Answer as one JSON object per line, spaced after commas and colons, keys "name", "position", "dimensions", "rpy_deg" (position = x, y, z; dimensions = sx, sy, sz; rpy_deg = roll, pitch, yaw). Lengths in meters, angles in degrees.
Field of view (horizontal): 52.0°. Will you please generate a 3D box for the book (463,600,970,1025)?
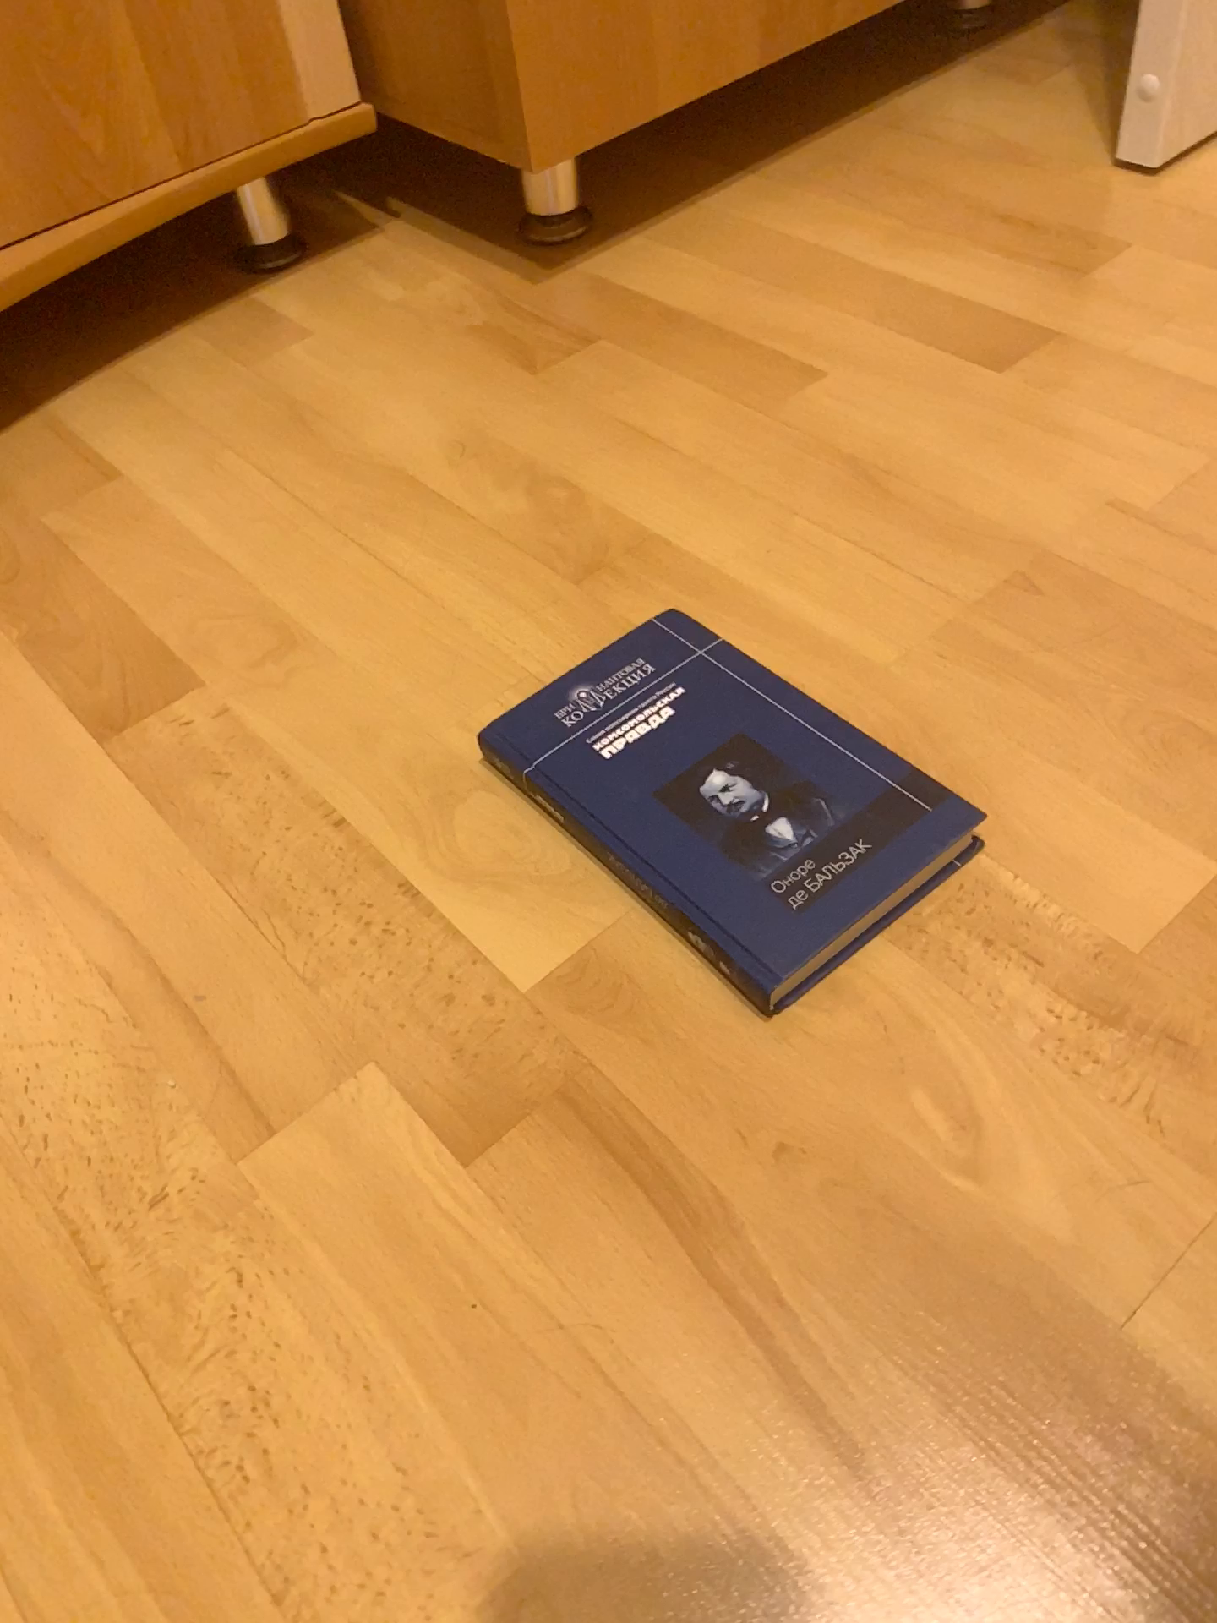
{"name": "book", "position": [0.044, -0.011, 0.578], "dimensions": [0.128, 0.030, 0.201], "rpy_deg": [-35, 54, -21]}
